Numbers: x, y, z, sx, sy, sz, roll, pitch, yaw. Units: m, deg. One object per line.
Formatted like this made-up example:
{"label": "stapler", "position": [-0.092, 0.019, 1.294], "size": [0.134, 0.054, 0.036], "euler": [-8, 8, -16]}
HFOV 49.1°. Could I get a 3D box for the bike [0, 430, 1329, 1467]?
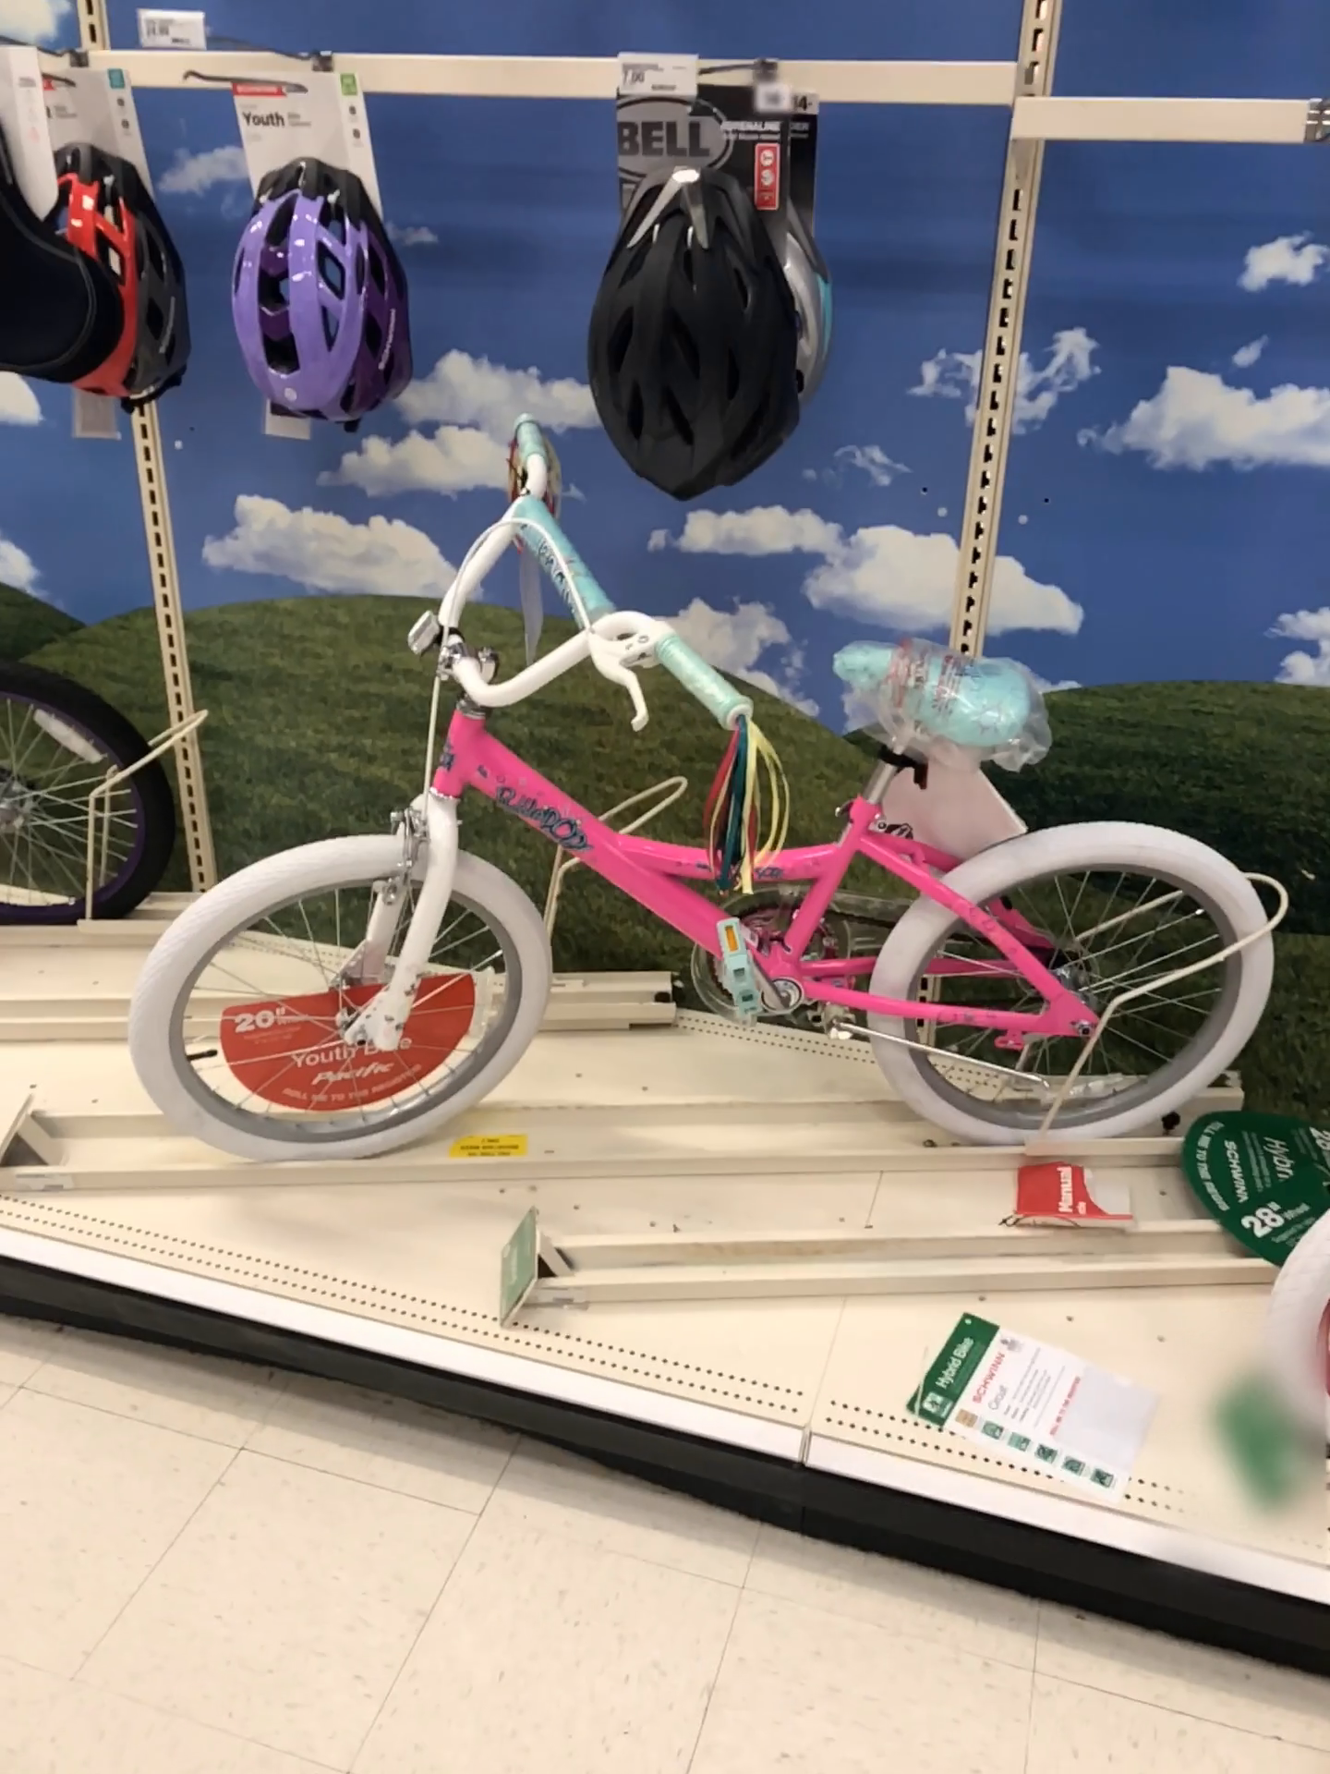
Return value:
{"label": "bike", "position": [0.074, 0.012, 1.694], "size": [1.346, 0.882, 0.730], "euler": [-2, 26, -4]}
